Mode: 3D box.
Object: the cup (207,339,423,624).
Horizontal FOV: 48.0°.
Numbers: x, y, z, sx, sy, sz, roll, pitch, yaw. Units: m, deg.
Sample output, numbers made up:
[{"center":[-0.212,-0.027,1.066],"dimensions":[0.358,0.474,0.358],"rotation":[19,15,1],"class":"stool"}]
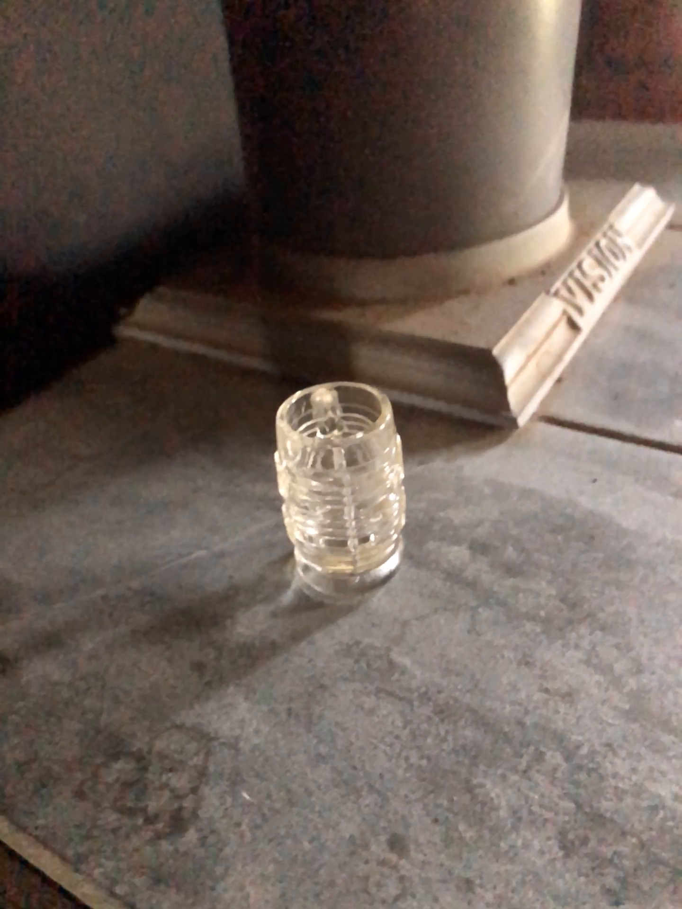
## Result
[{"center":[-0.008,0.006,0.227],"dimensions":[0.040,0.050,0.060],"rotation":[-18,38,-14],"class":"cup"}]
